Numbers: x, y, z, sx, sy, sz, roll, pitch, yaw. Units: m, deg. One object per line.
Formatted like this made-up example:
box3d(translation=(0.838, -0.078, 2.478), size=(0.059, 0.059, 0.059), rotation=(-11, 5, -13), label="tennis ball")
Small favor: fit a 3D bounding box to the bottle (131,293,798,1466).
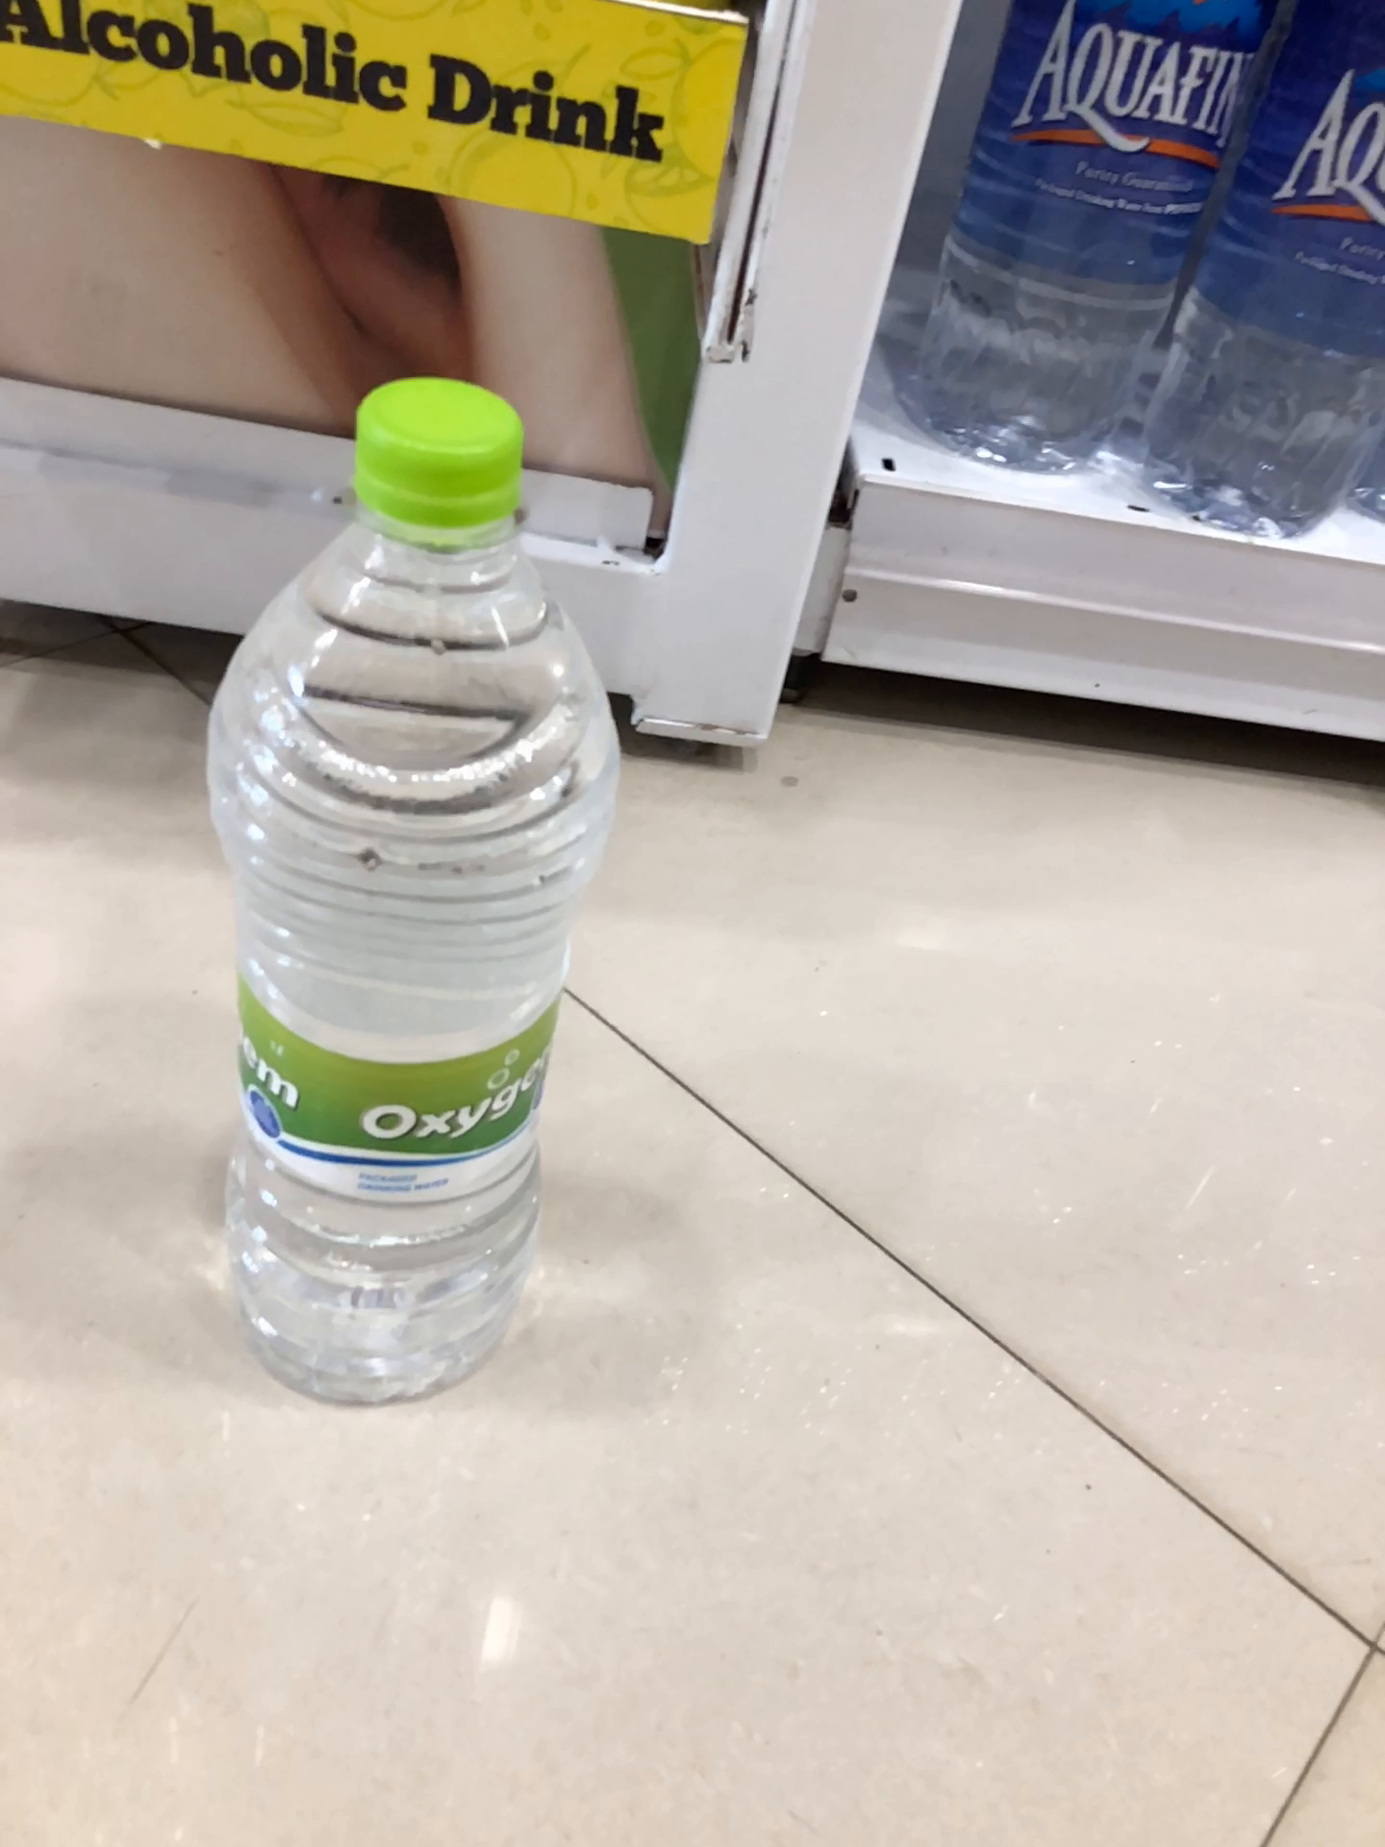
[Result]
box3d(translation=(-0.063, 0.004, 0.344), size=(0.090, 0.258, 0.080), rotation=(-13, 46, -28), label="bottle")
